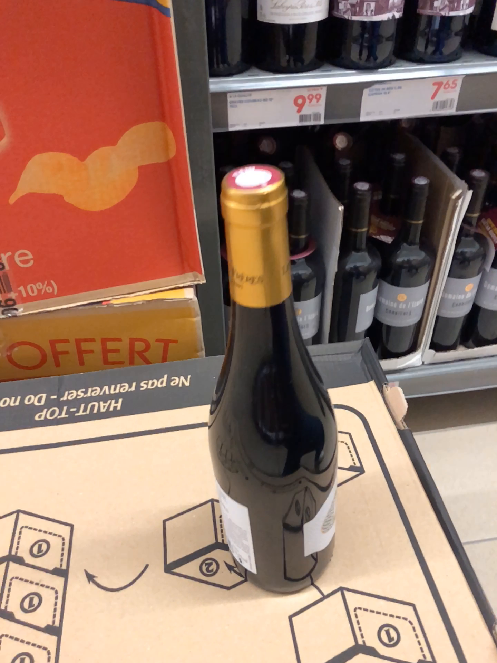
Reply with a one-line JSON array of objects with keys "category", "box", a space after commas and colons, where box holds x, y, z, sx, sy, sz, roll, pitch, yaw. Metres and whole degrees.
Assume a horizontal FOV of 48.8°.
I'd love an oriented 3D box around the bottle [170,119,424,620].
[{"category": "bottle", "box": [0.017, 0.048, 0.317, 0.080, 0.298, 0.091, -9, 41, -9]}]
